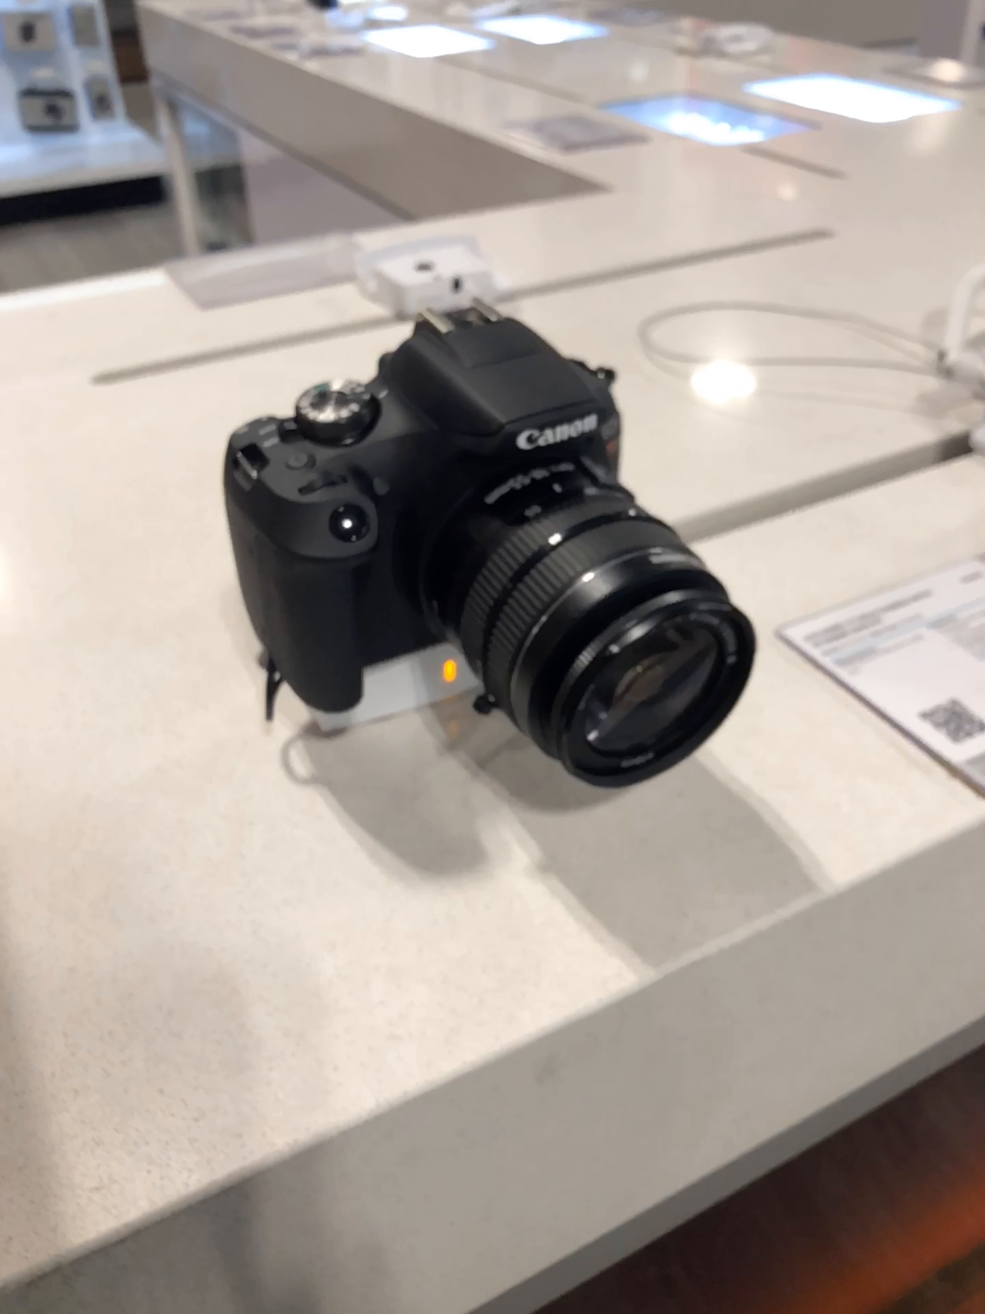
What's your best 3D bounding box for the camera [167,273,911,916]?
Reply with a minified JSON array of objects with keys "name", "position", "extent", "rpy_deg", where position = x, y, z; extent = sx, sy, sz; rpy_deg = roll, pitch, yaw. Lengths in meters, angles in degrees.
[{"name":"camera","position":[0.005,-0.034,0.322],"extent":[0.140,0.089,0.151],"rpy_deg":[-21,40,-23]}]
